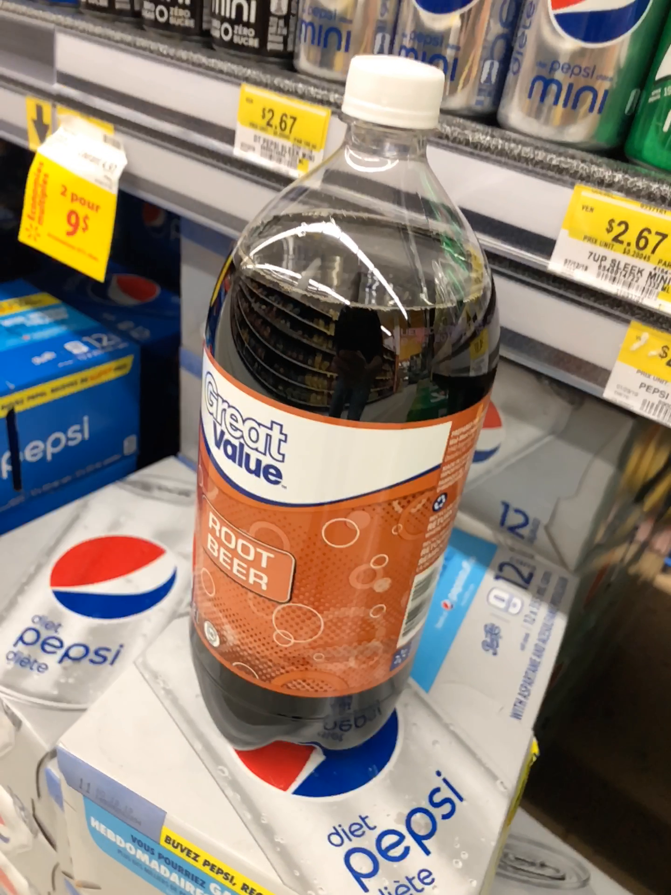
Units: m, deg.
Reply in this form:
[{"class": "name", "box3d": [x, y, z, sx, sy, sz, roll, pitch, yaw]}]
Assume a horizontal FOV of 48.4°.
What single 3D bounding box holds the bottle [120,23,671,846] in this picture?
[{"class": "bottle", "box3d": [0.008, -0.002, 0.291, 0.120, 0.268, 0.121, 6, 34, -4]}]
